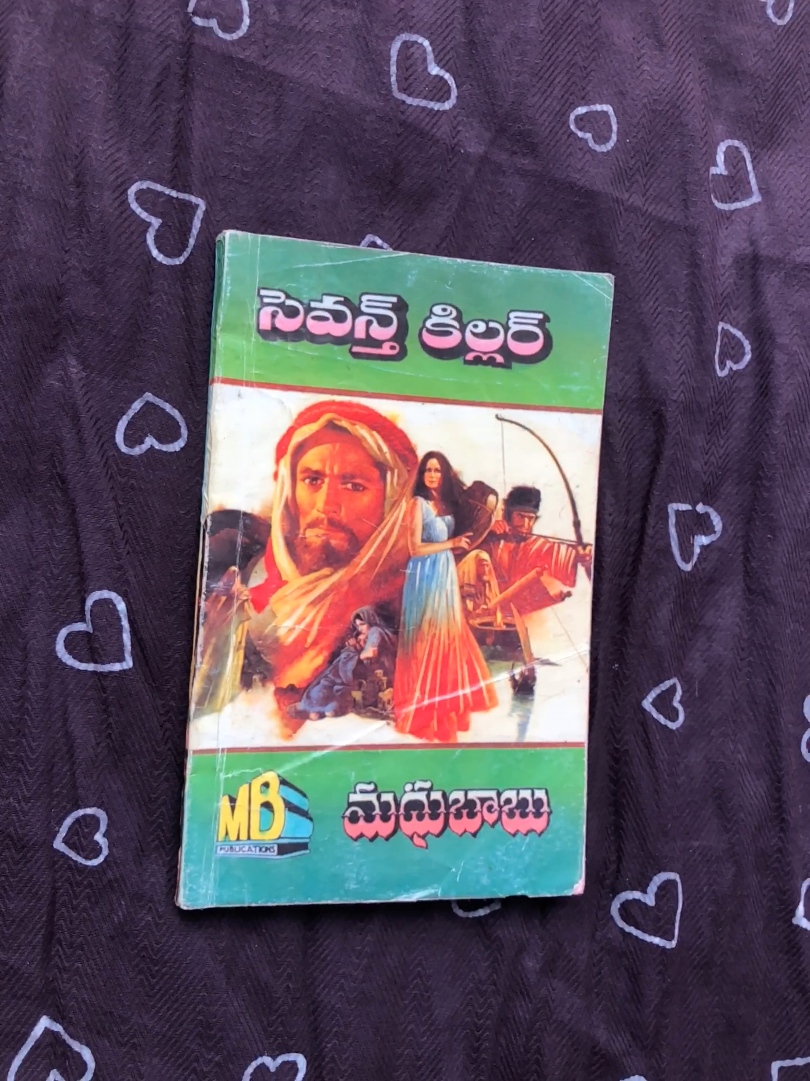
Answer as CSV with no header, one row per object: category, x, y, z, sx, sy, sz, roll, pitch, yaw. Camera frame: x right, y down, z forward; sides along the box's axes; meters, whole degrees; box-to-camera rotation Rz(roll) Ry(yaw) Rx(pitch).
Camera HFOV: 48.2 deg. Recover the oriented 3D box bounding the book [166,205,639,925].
book,0.002,0.007,0.206,0.100,0.010,0.150,3,88,-14
